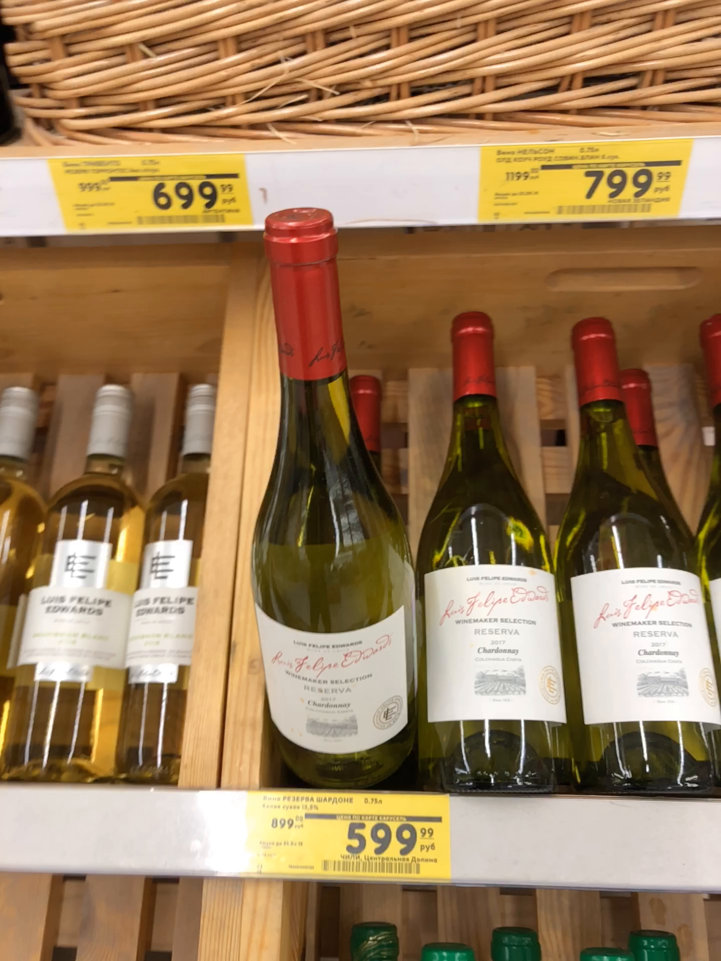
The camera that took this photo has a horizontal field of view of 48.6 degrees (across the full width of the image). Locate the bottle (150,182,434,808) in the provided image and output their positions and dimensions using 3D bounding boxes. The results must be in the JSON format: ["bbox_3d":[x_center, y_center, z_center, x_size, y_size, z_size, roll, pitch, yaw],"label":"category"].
[{"bbox_3d":[-0.018,0.014,0.391,0.100,0.289,0.100,-1,27,1],"label":"bottle"}]
